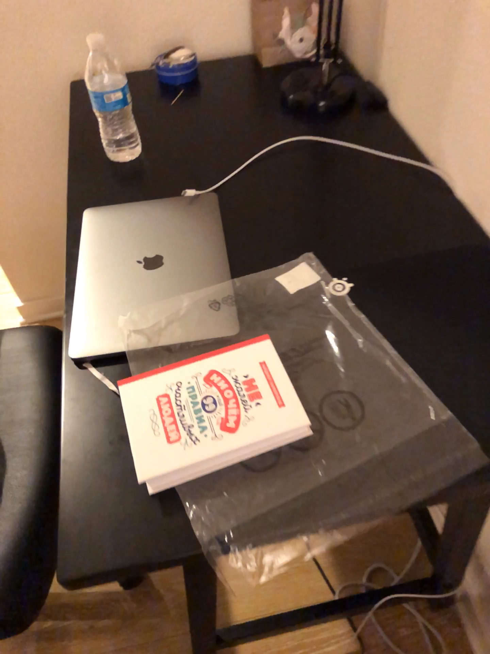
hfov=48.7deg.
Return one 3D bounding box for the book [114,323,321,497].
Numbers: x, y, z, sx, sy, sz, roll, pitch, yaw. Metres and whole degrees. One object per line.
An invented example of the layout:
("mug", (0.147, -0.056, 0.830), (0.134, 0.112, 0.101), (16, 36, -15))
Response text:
("book", (-0.034, 0.083, 0.594), (0.190, 0.030, 0.141), (-18, 50, -10))
